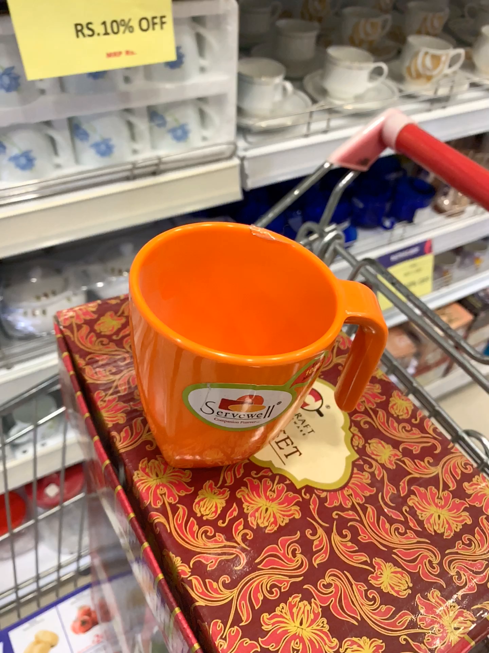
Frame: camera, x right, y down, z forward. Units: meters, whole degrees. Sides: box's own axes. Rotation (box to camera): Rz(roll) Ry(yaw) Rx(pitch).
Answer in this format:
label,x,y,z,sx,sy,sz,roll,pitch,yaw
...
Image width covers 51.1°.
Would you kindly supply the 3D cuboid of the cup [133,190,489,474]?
label,x,y,z,sx,sy,sz,roll,pitch,yaw
cup,0.014,0.003,0.203,0.110,0.070,0.080,2,46,-12
